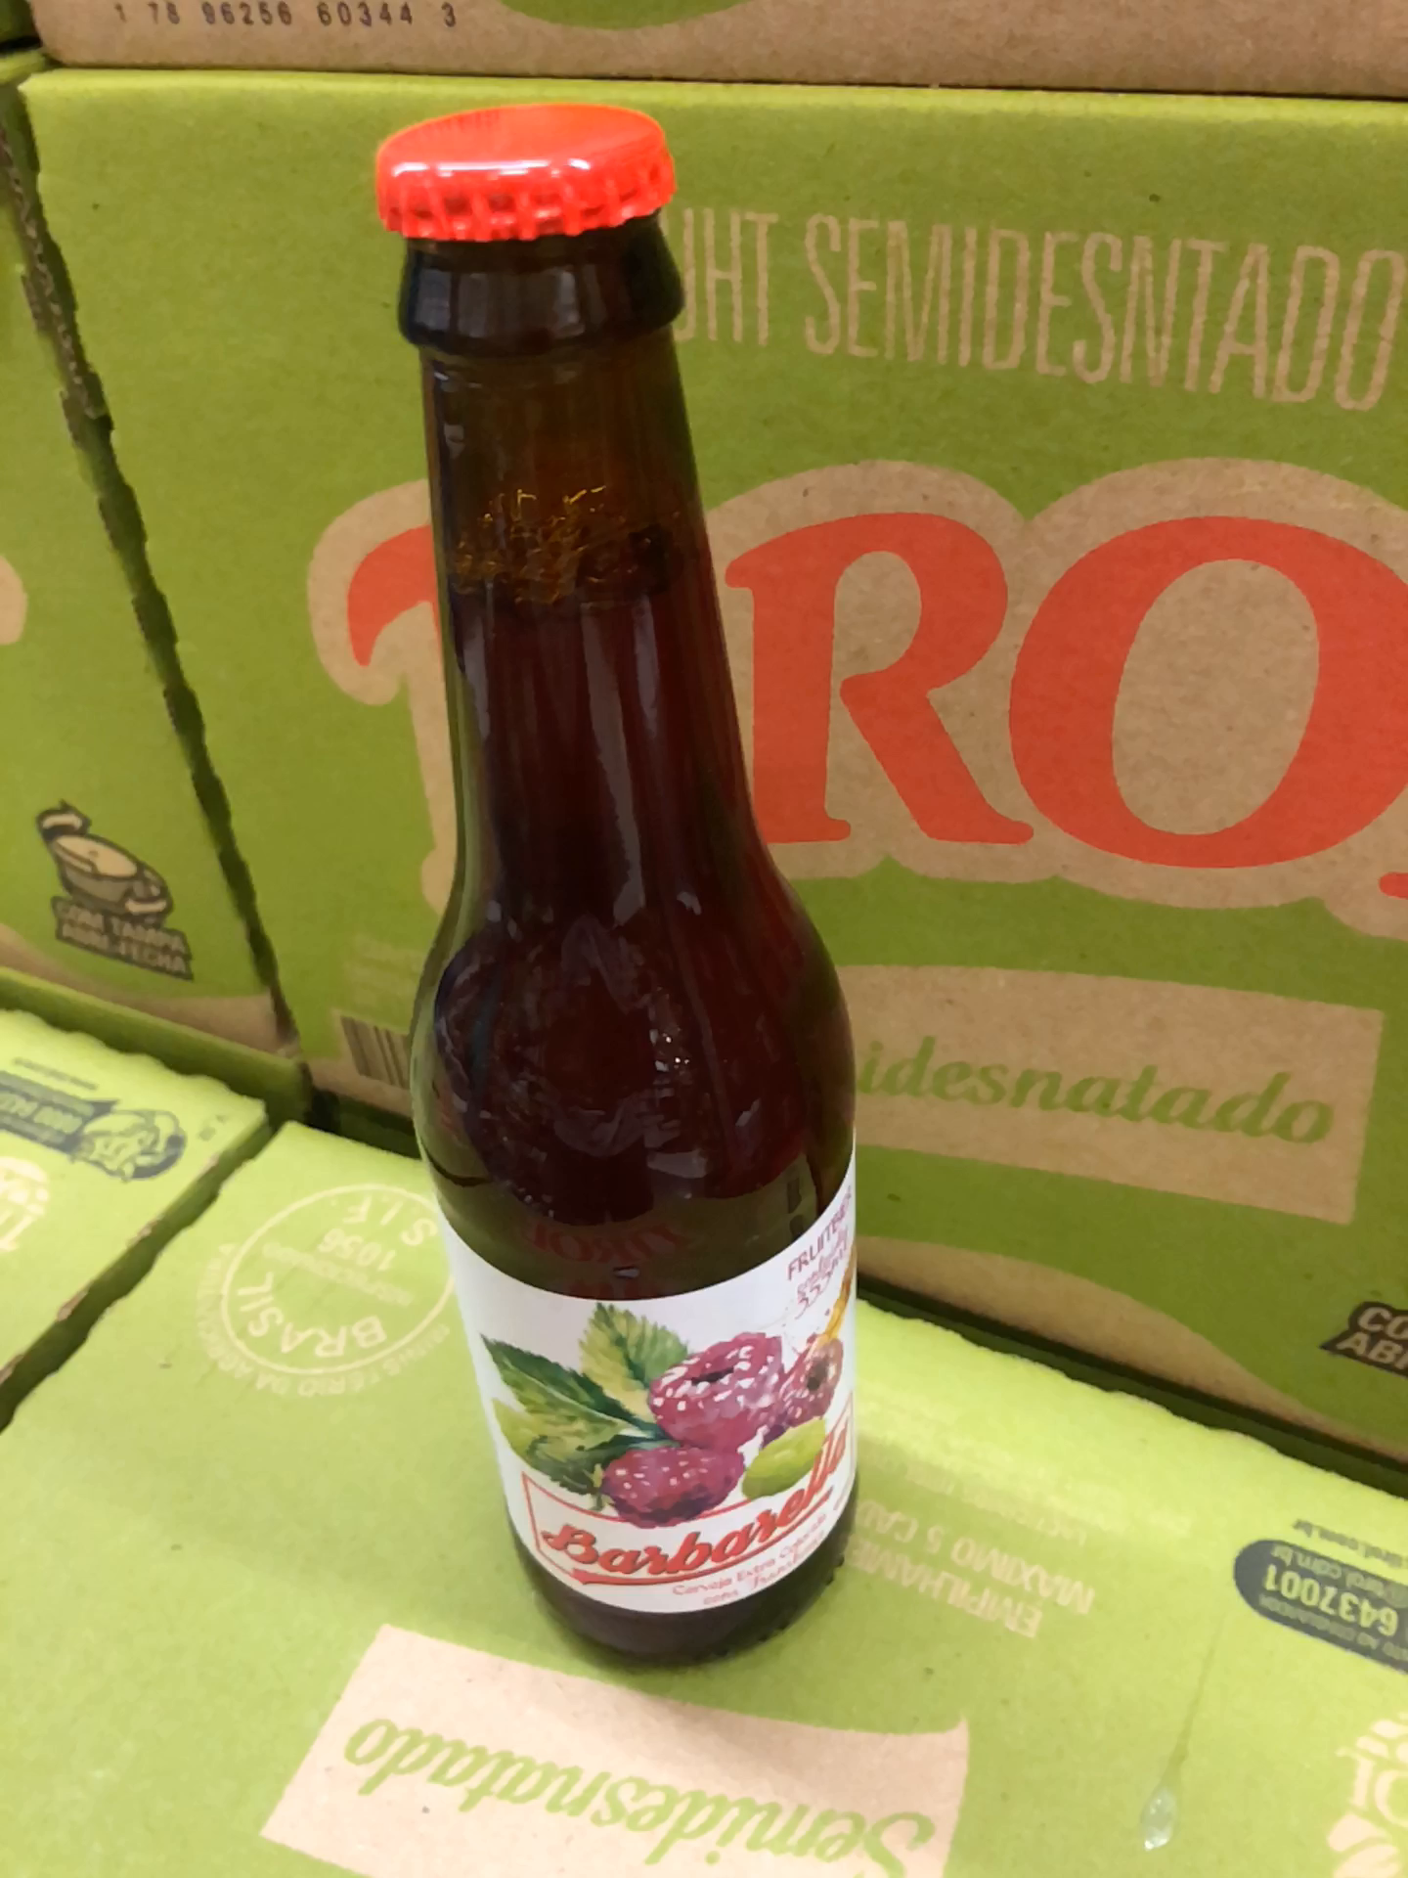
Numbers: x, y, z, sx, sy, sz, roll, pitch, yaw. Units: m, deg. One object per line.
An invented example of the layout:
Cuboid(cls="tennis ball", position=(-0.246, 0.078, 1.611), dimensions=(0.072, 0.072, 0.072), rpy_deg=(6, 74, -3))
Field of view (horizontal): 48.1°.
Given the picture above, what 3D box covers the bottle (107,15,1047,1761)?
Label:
Cuboid(cls="bottle", position=(-0.010, 0.015, 0.211), dimensions=(0.070, 0.228, 0.060), rpy_deg=(-14, 40, -13))
